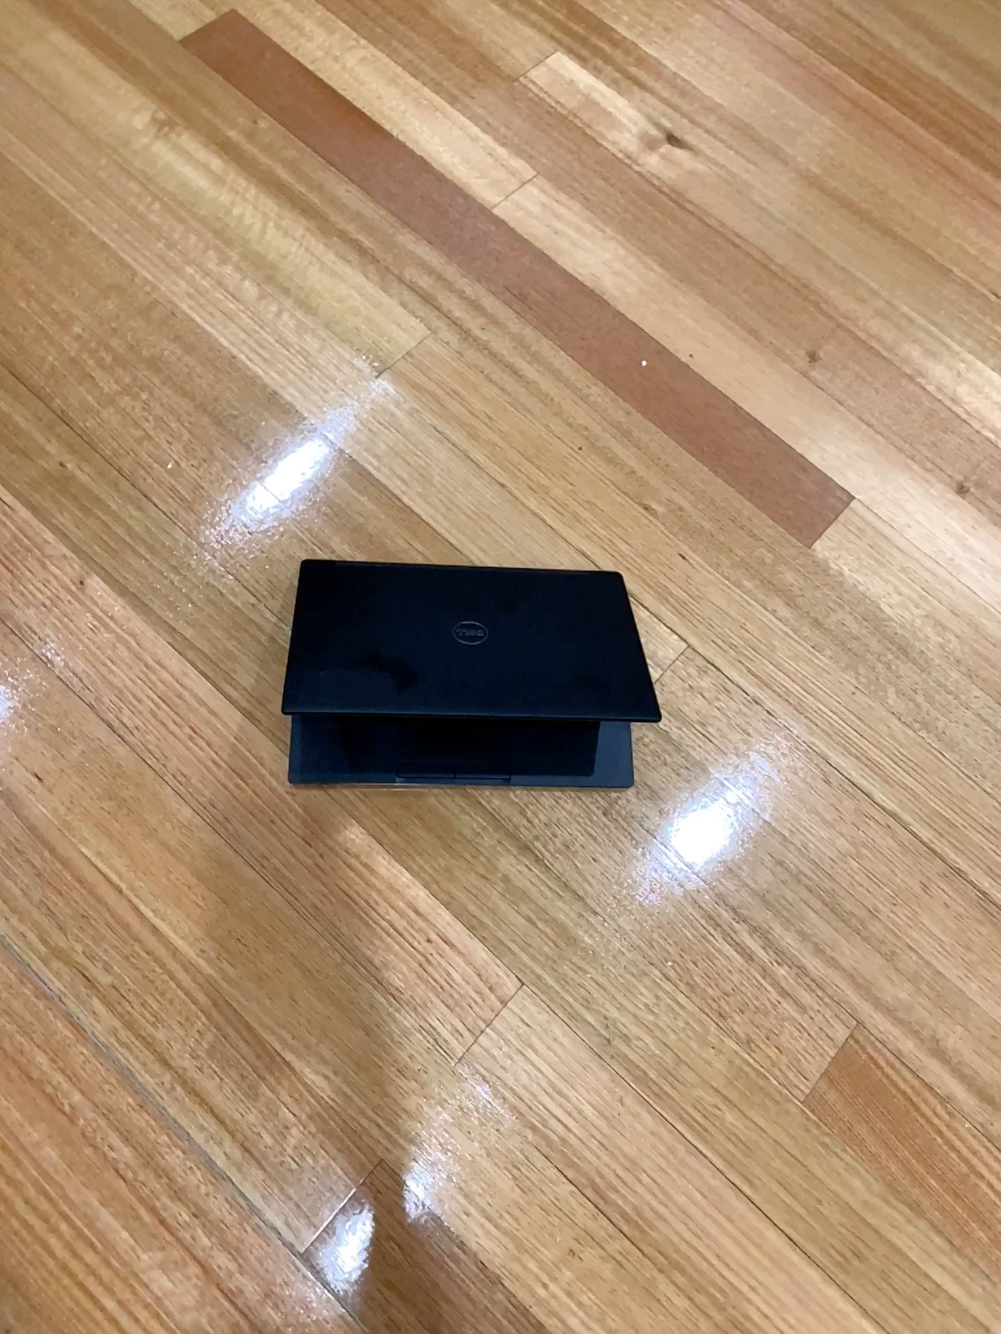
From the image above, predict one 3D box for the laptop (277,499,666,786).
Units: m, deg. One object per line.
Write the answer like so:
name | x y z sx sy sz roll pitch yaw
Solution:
laptop | -0.027 -0.017 0.866 0.296 0.110 0.207 2 66 -7
